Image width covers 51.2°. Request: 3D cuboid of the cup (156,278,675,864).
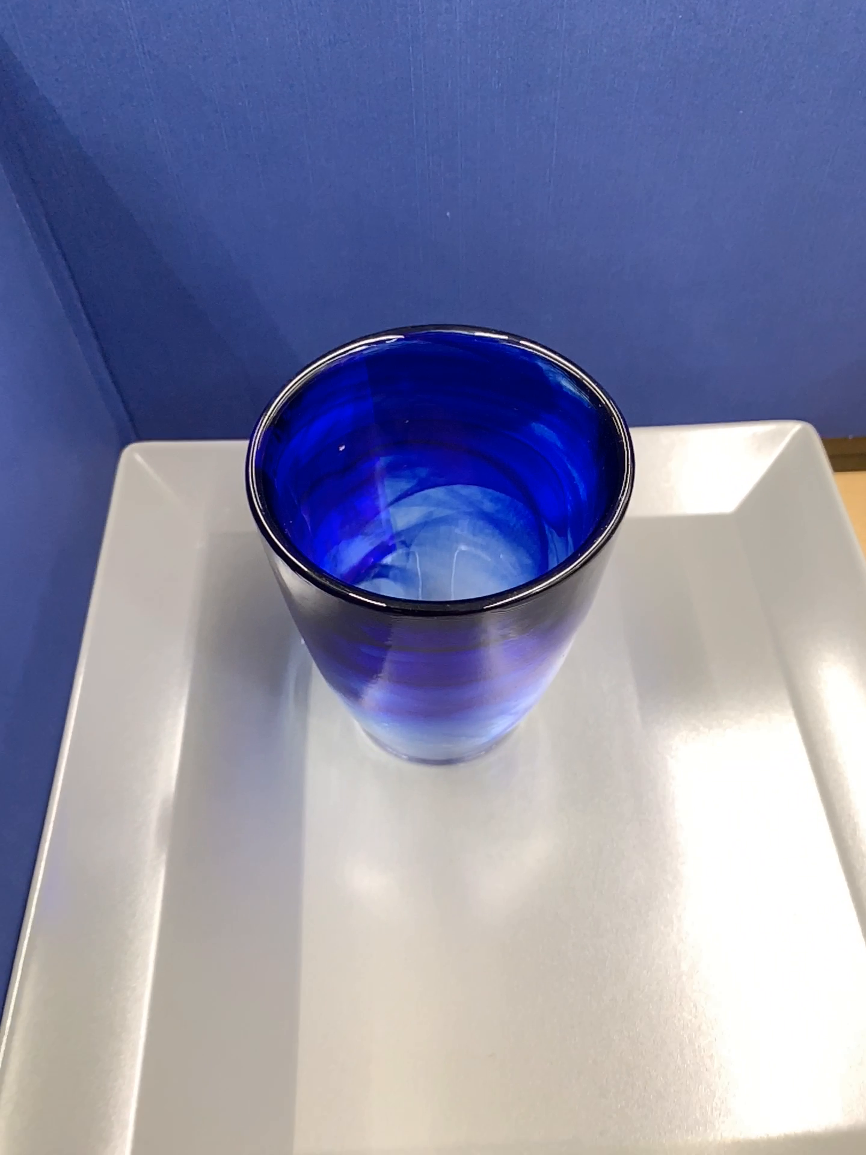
[{"bbox_3d":[-0.002,0.001,0.251,0.082,0.111,0.088,-1,52,2],"label":"cup"}]
